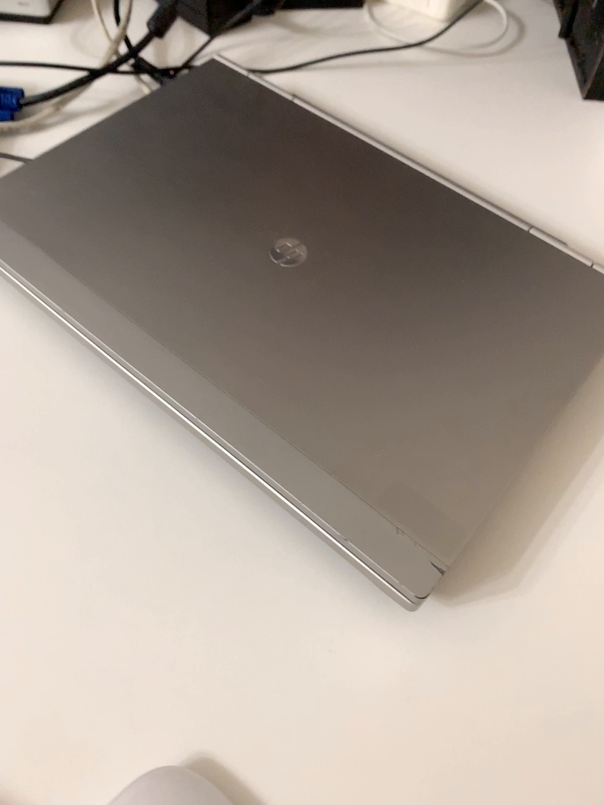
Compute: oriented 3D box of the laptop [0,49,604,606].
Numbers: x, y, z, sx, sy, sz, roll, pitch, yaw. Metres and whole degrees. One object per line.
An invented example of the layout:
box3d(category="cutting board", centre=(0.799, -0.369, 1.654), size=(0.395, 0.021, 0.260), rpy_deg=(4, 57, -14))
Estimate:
box3d(category="laptop", centre=(-0.008, -0.073, 0.325), size=(0.292, 0.016, 0.192), rpy_deg=(37, 66, 18))
